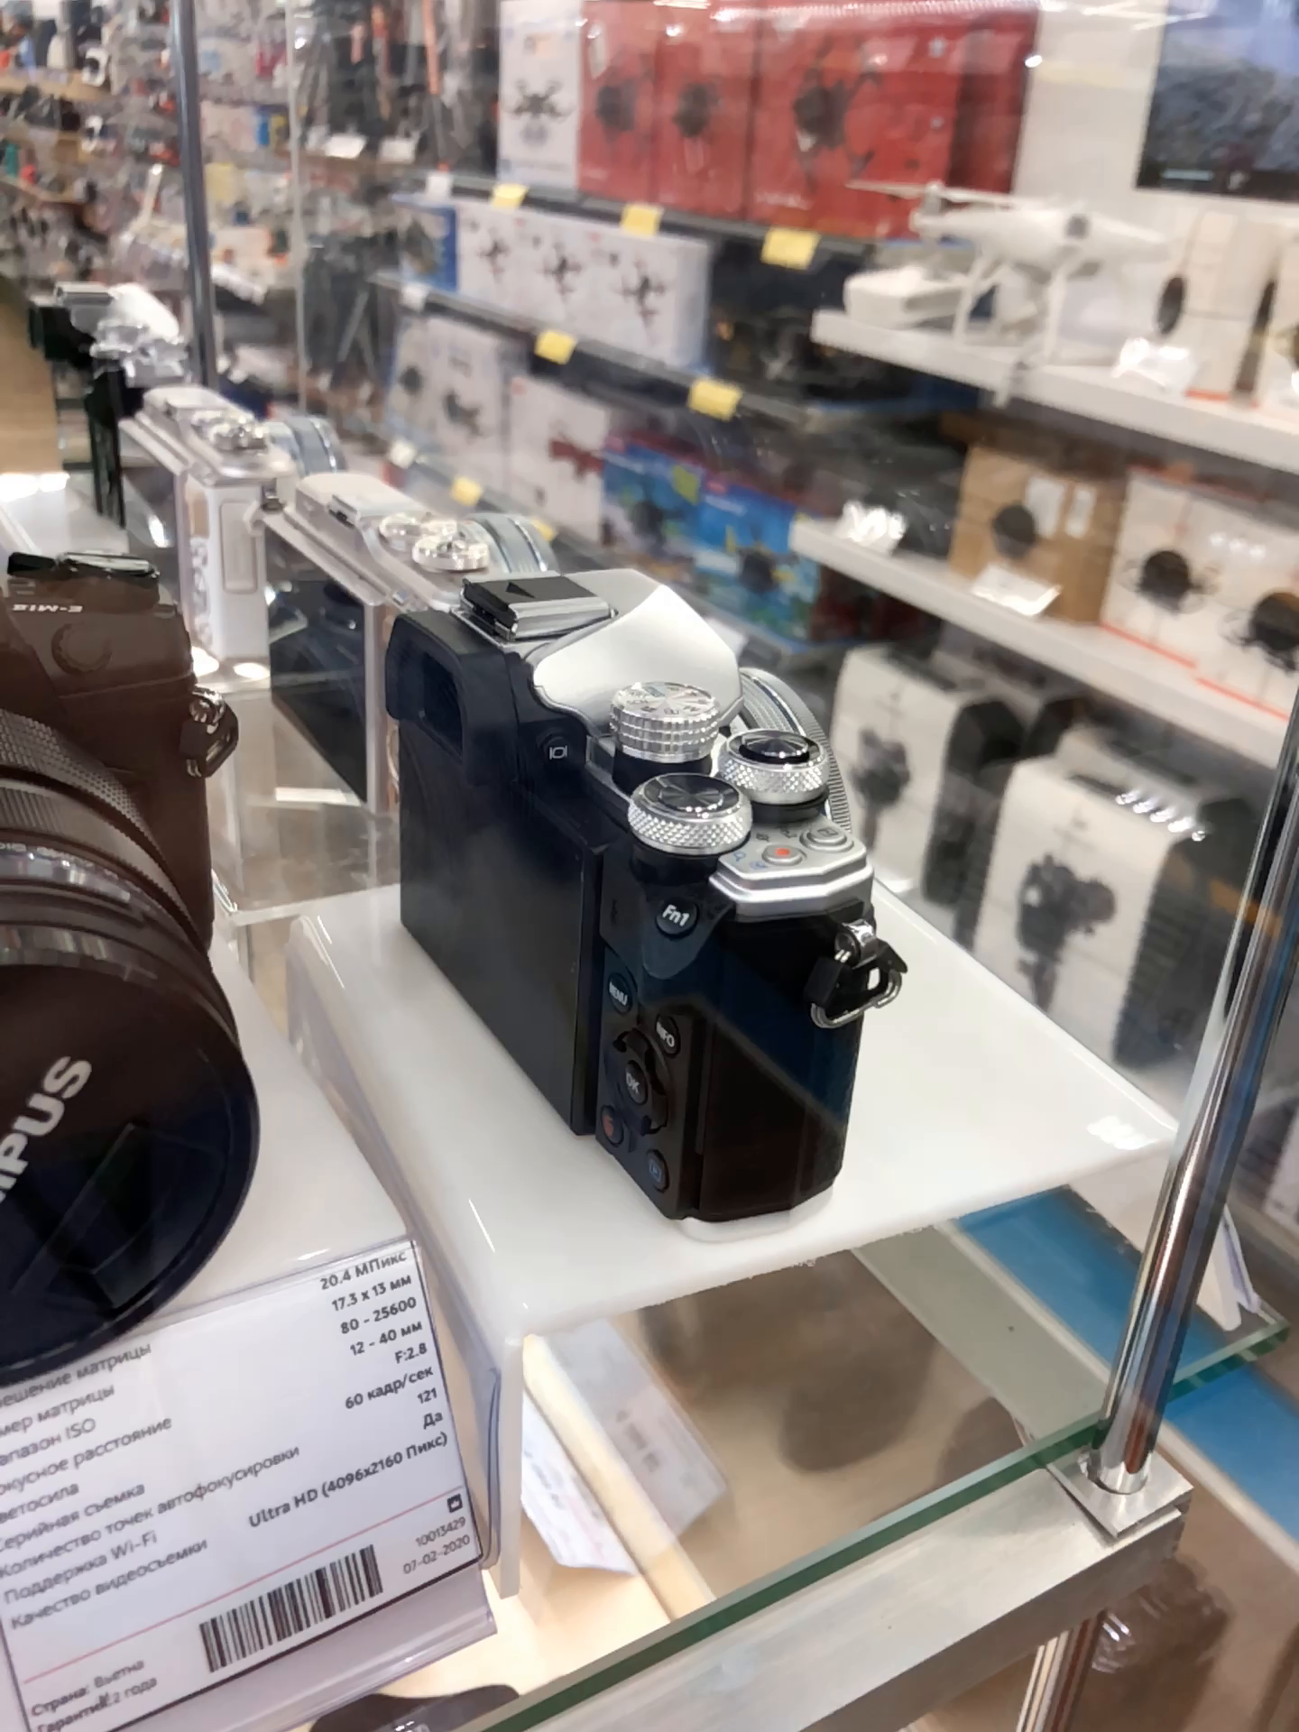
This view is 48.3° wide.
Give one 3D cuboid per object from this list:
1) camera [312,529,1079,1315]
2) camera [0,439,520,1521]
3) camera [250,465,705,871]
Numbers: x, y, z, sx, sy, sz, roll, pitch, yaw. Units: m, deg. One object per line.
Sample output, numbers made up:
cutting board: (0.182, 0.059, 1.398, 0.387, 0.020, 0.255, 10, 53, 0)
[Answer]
camera: (-0.003, -0.003, 0.253, 0.072, 0.080, 0.120, -11, 30, -30)
camera: (-0.096, -0.005, 0.216, 0.102, 0.087, 0.137, -11, 30, -28)
camera: (-0.053, -0.061, 0.391, 0.065, 0.062, 0.140, -11, 30, -30)
